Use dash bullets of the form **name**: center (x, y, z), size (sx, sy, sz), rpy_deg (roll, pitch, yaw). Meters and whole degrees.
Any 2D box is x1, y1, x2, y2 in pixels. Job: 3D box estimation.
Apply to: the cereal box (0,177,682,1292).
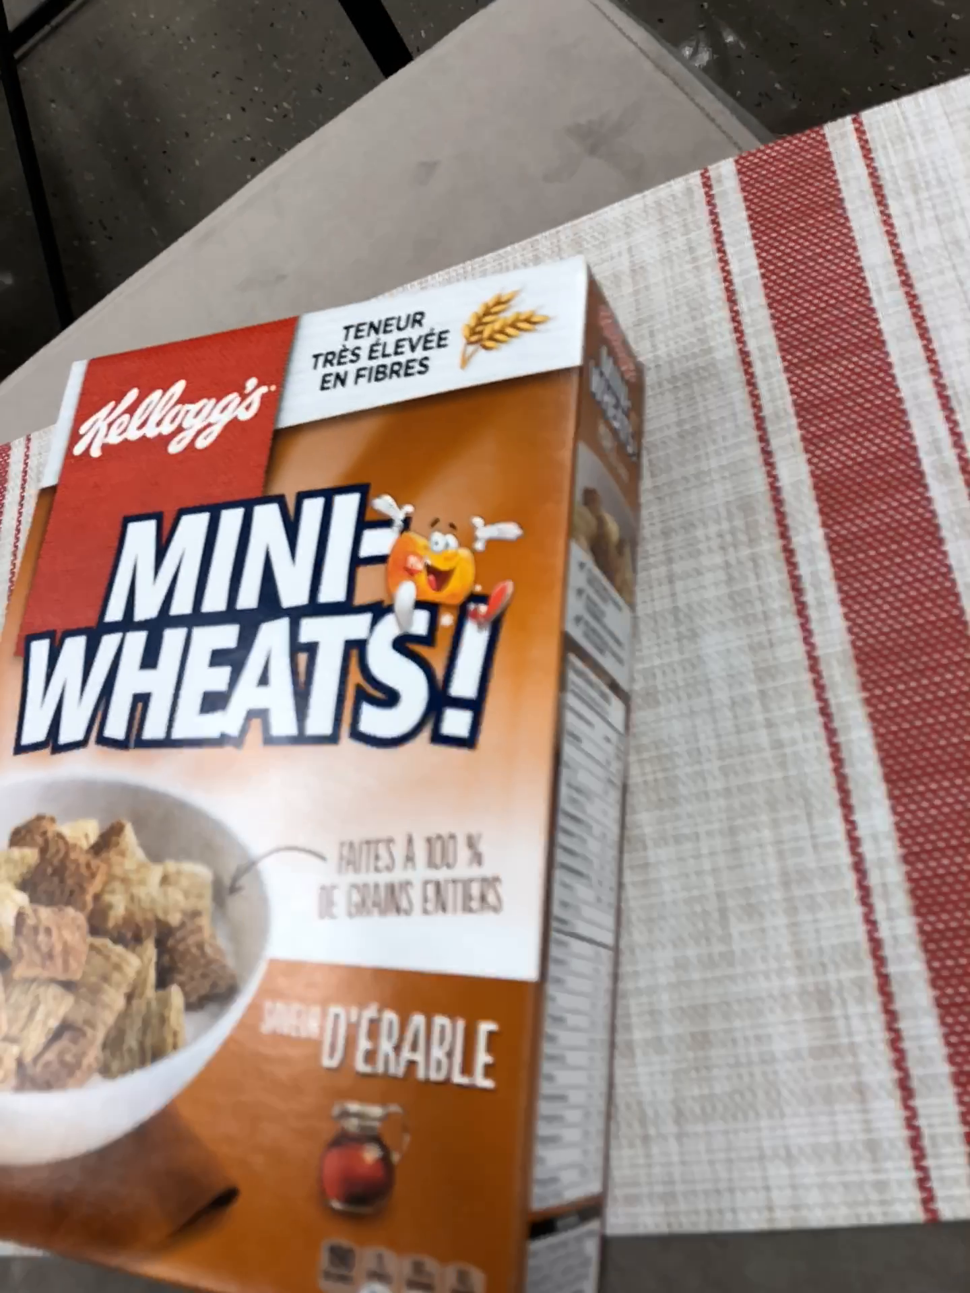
- **cereal box**: center (-0.058, 0.021, 0.313), size (0.211, 0.060, 0.280), rpy_deg (-3, 69, 25)
